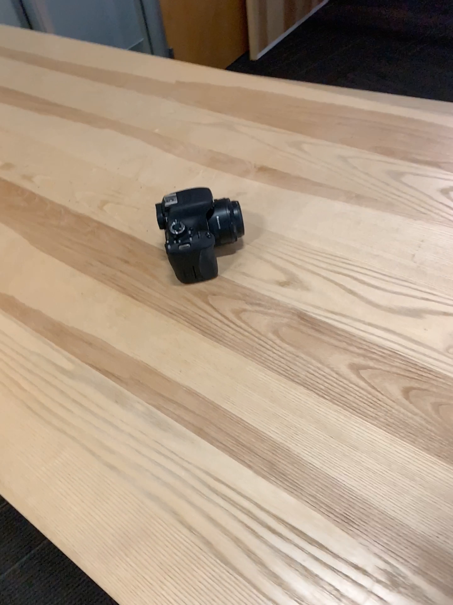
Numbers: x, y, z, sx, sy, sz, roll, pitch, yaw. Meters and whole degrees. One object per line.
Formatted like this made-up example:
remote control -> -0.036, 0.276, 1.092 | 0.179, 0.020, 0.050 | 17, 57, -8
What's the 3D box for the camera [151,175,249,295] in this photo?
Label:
camera -> -0.038, -0.097, 0.664 | 0.112, 0.094, 0.120 | -12, 50, -2
